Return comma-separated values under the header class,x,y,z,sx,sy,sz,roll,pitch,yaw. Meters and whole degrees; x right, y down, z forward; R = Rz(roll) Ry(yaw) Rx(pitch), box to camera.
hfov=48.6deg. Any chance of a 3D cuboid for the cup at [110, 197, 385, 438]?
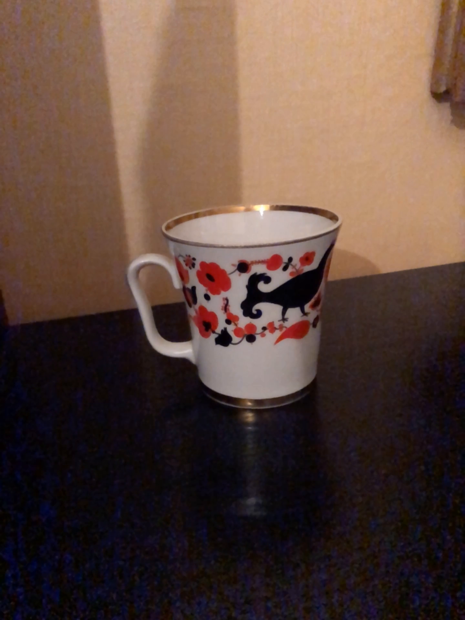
class,x,y,z,sx,sy,sz,roll,pitch,yaw
cup,0.001,-0.005,0.291,0.125,0.092,0.103,-6,22,-10
